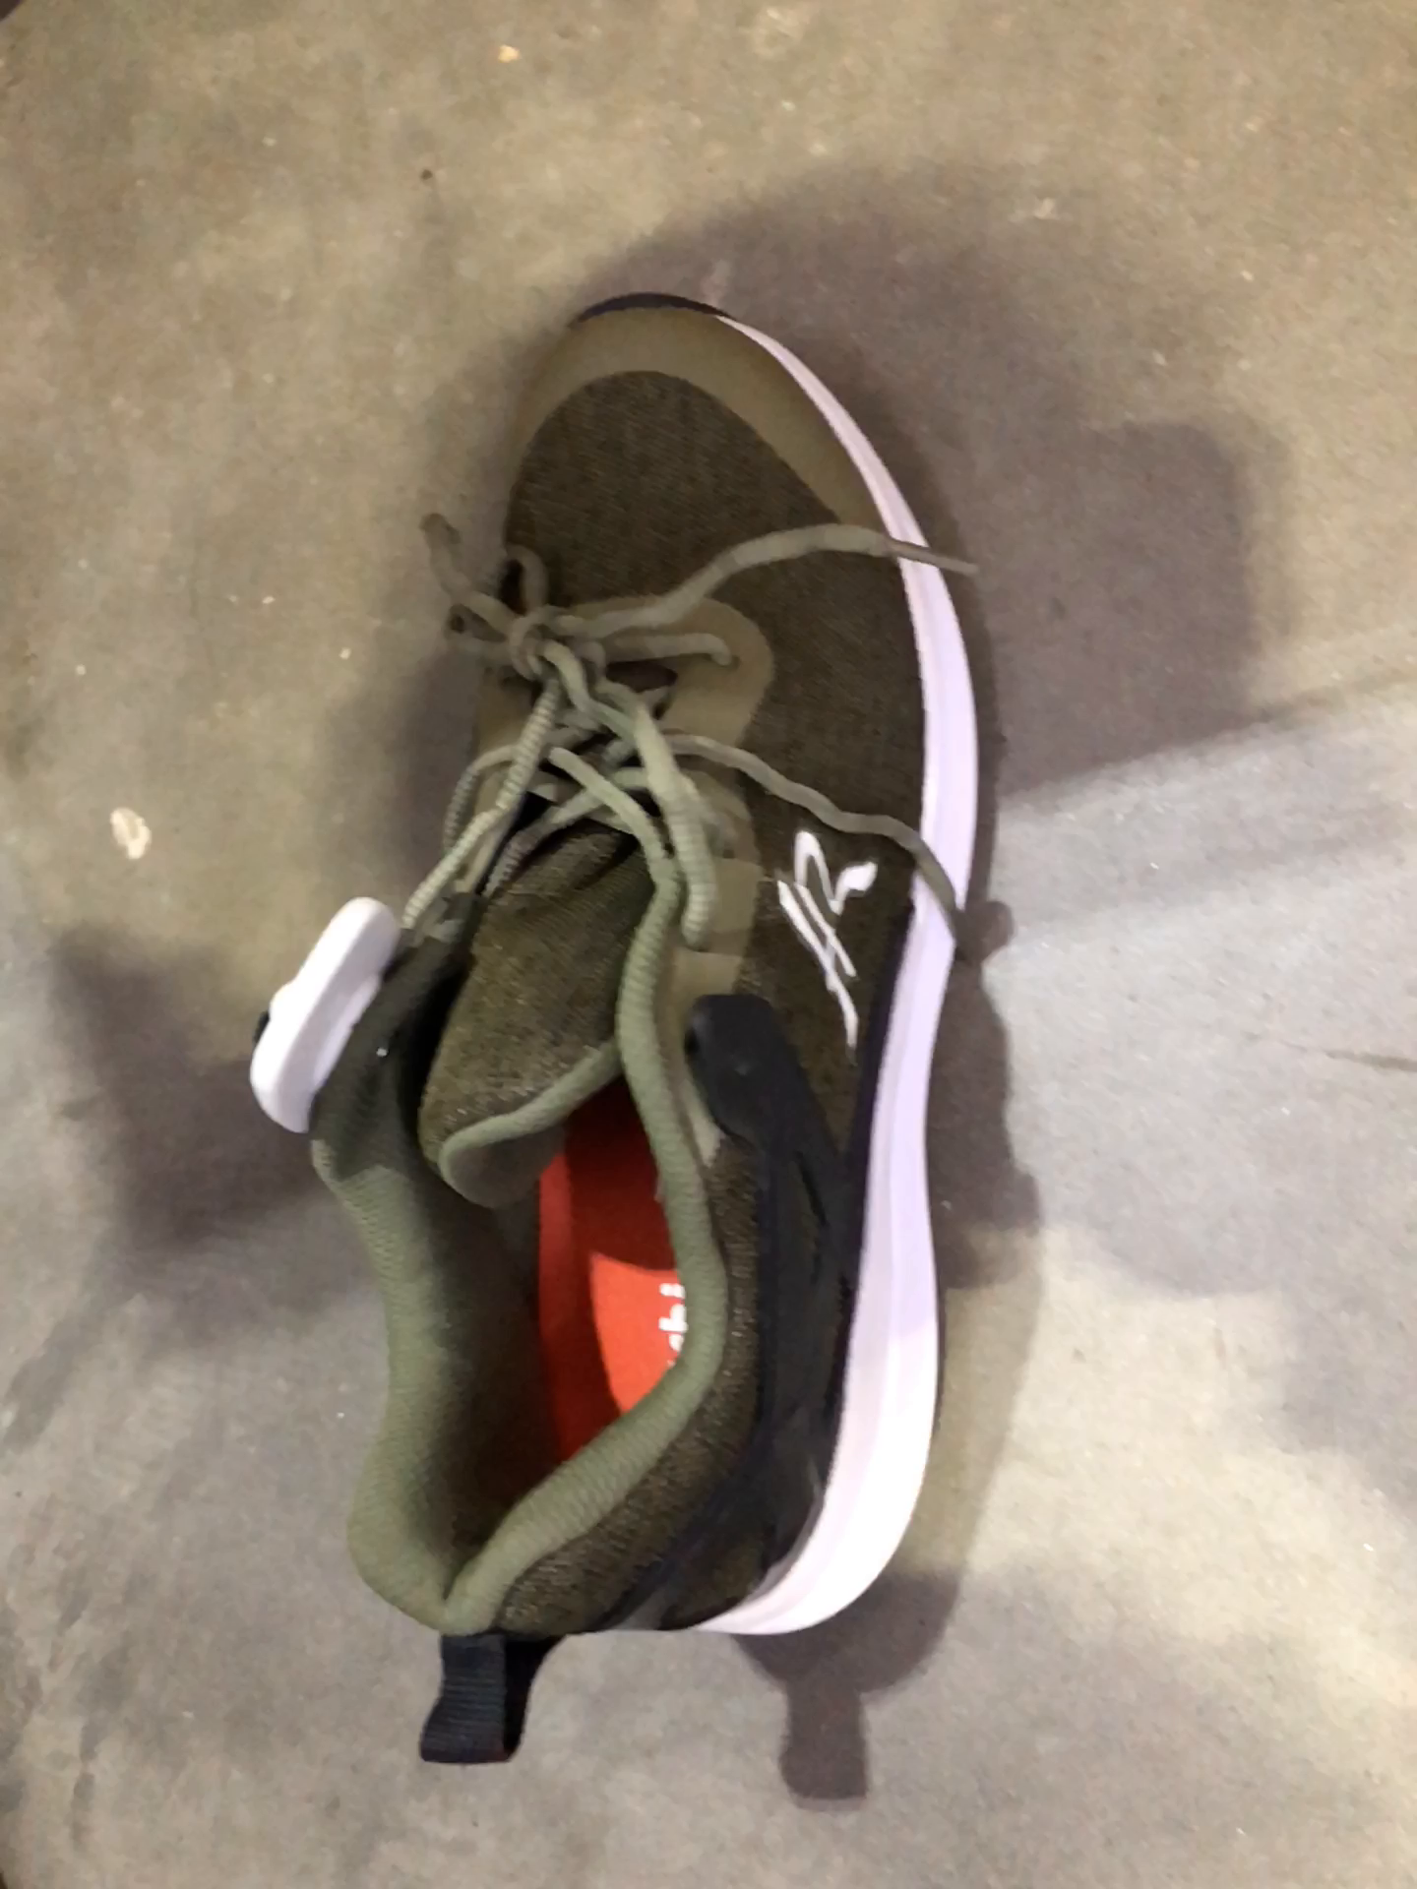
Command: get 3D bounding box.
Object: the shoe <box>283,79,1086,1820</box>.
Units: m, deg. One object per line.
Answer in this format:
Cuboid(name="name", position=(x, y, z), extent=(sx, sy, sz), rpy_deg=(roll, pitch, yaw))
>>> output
Cuboid(name="shoe", position=(-0.006, 0.001, 0.331), extent=(0.120, 0.100, 0.290), rpy_deg=(-7, 81, 27))
